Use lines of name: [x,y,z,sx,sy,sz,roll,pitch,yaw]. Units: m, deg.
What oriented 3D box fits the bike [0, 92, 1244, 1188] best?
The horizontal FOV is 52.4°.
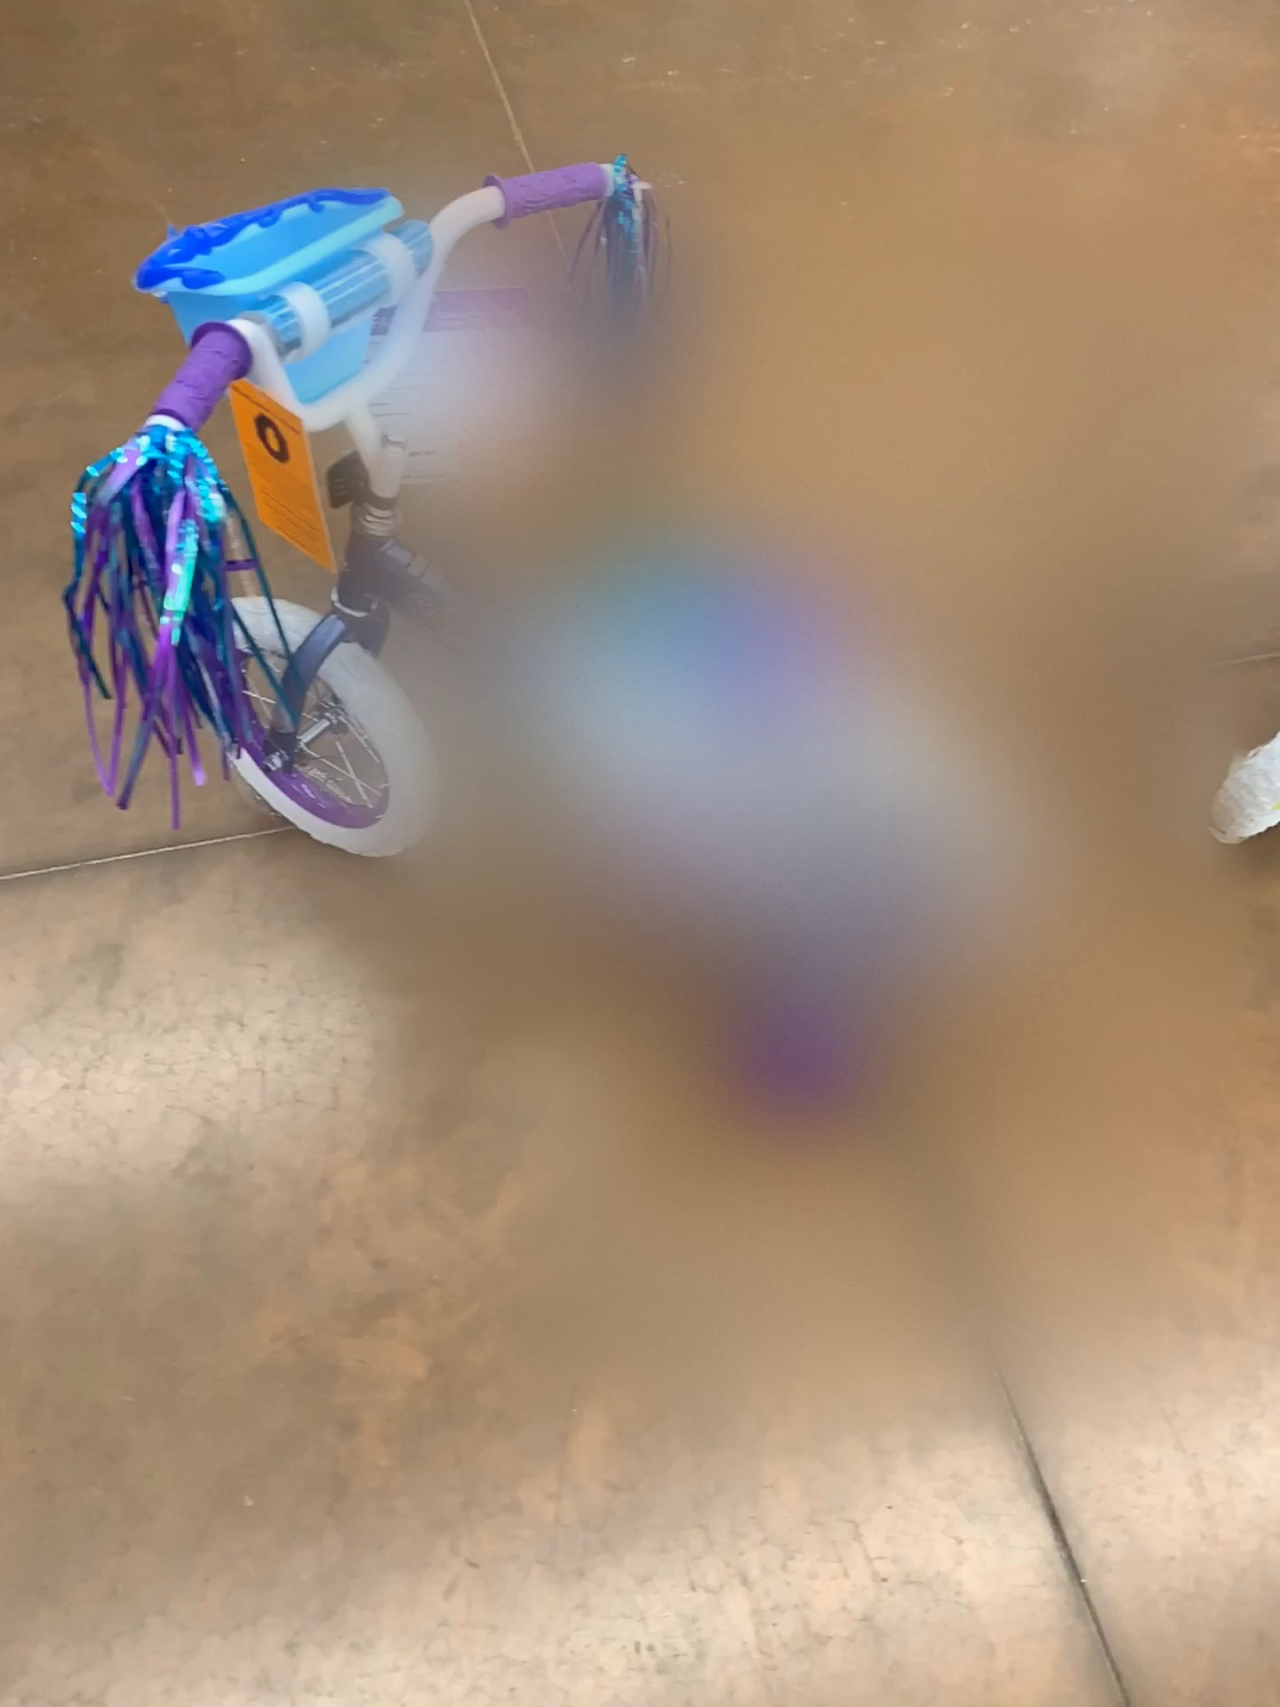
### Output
bike: [0.013,-0.128,1.043,0.651,0.643,0.474,11,55,6]
